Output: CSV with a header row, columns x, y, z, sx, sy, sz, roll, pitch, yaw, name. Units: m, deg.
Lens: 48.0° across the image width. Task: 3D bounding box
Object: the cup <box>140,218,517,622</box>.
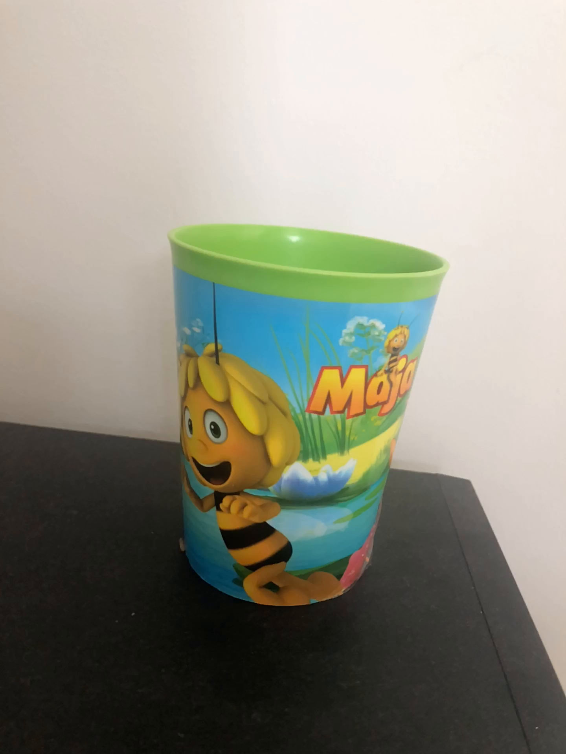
x,y,z,sx,sy,sz,roll,pitch,yaw,name
0.007,0.006,0.191,0.080,0.090,0.080,6,19,-2,cup
